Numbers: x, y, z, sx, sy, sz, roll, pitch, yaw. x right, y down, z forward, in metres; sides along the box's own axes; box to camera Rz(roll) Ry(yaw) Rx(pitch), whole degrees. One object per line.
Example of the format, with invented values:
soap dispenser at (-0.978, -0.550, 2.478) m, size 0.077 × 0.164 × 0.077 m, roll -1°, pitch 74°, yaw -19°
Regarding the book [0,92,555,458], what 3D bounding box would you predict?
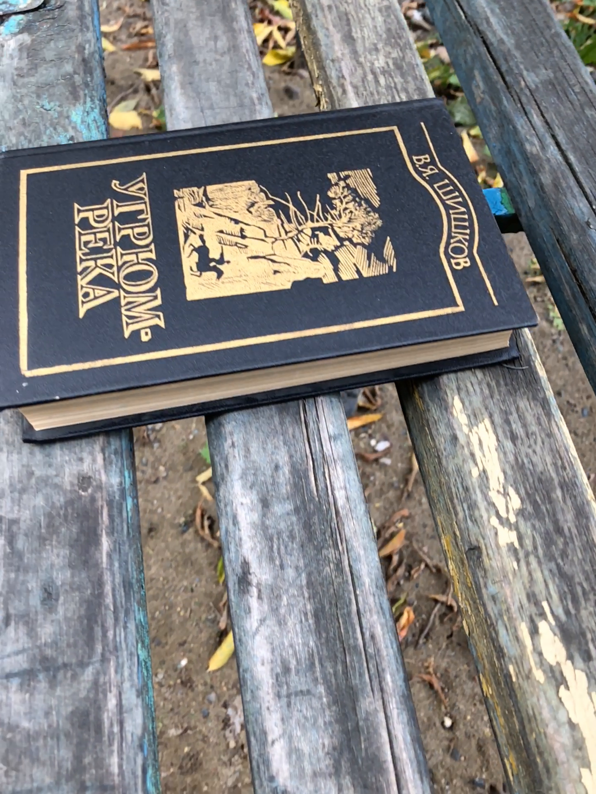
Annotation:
book at (-0.018, -0.060, 0.286) m, size 0.210 × 0.030 × 0.138 m, roll -9°, pitch 64°, yaw -6°
